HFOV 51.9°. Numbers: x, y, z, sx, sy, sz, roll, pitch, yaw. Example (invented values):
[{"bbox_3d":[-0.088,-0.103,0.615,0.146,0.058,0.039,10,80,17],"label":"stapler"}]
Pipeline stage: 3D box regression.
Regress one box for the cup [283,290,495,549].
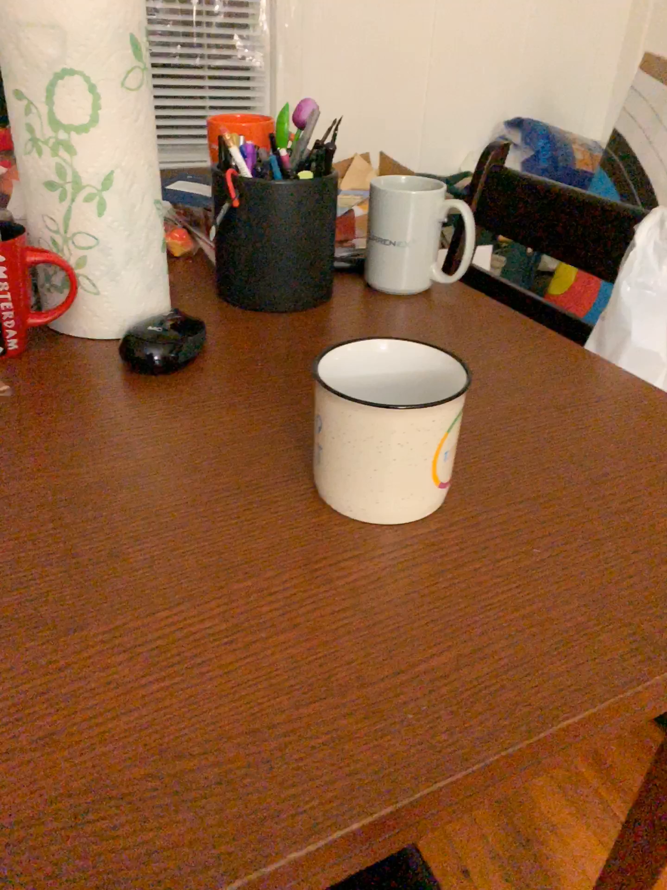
[{"bbox_3d":[0.041,-0.026,0.465,0.100,0.099,0.151,12,33,15],"label":"cup"}]
